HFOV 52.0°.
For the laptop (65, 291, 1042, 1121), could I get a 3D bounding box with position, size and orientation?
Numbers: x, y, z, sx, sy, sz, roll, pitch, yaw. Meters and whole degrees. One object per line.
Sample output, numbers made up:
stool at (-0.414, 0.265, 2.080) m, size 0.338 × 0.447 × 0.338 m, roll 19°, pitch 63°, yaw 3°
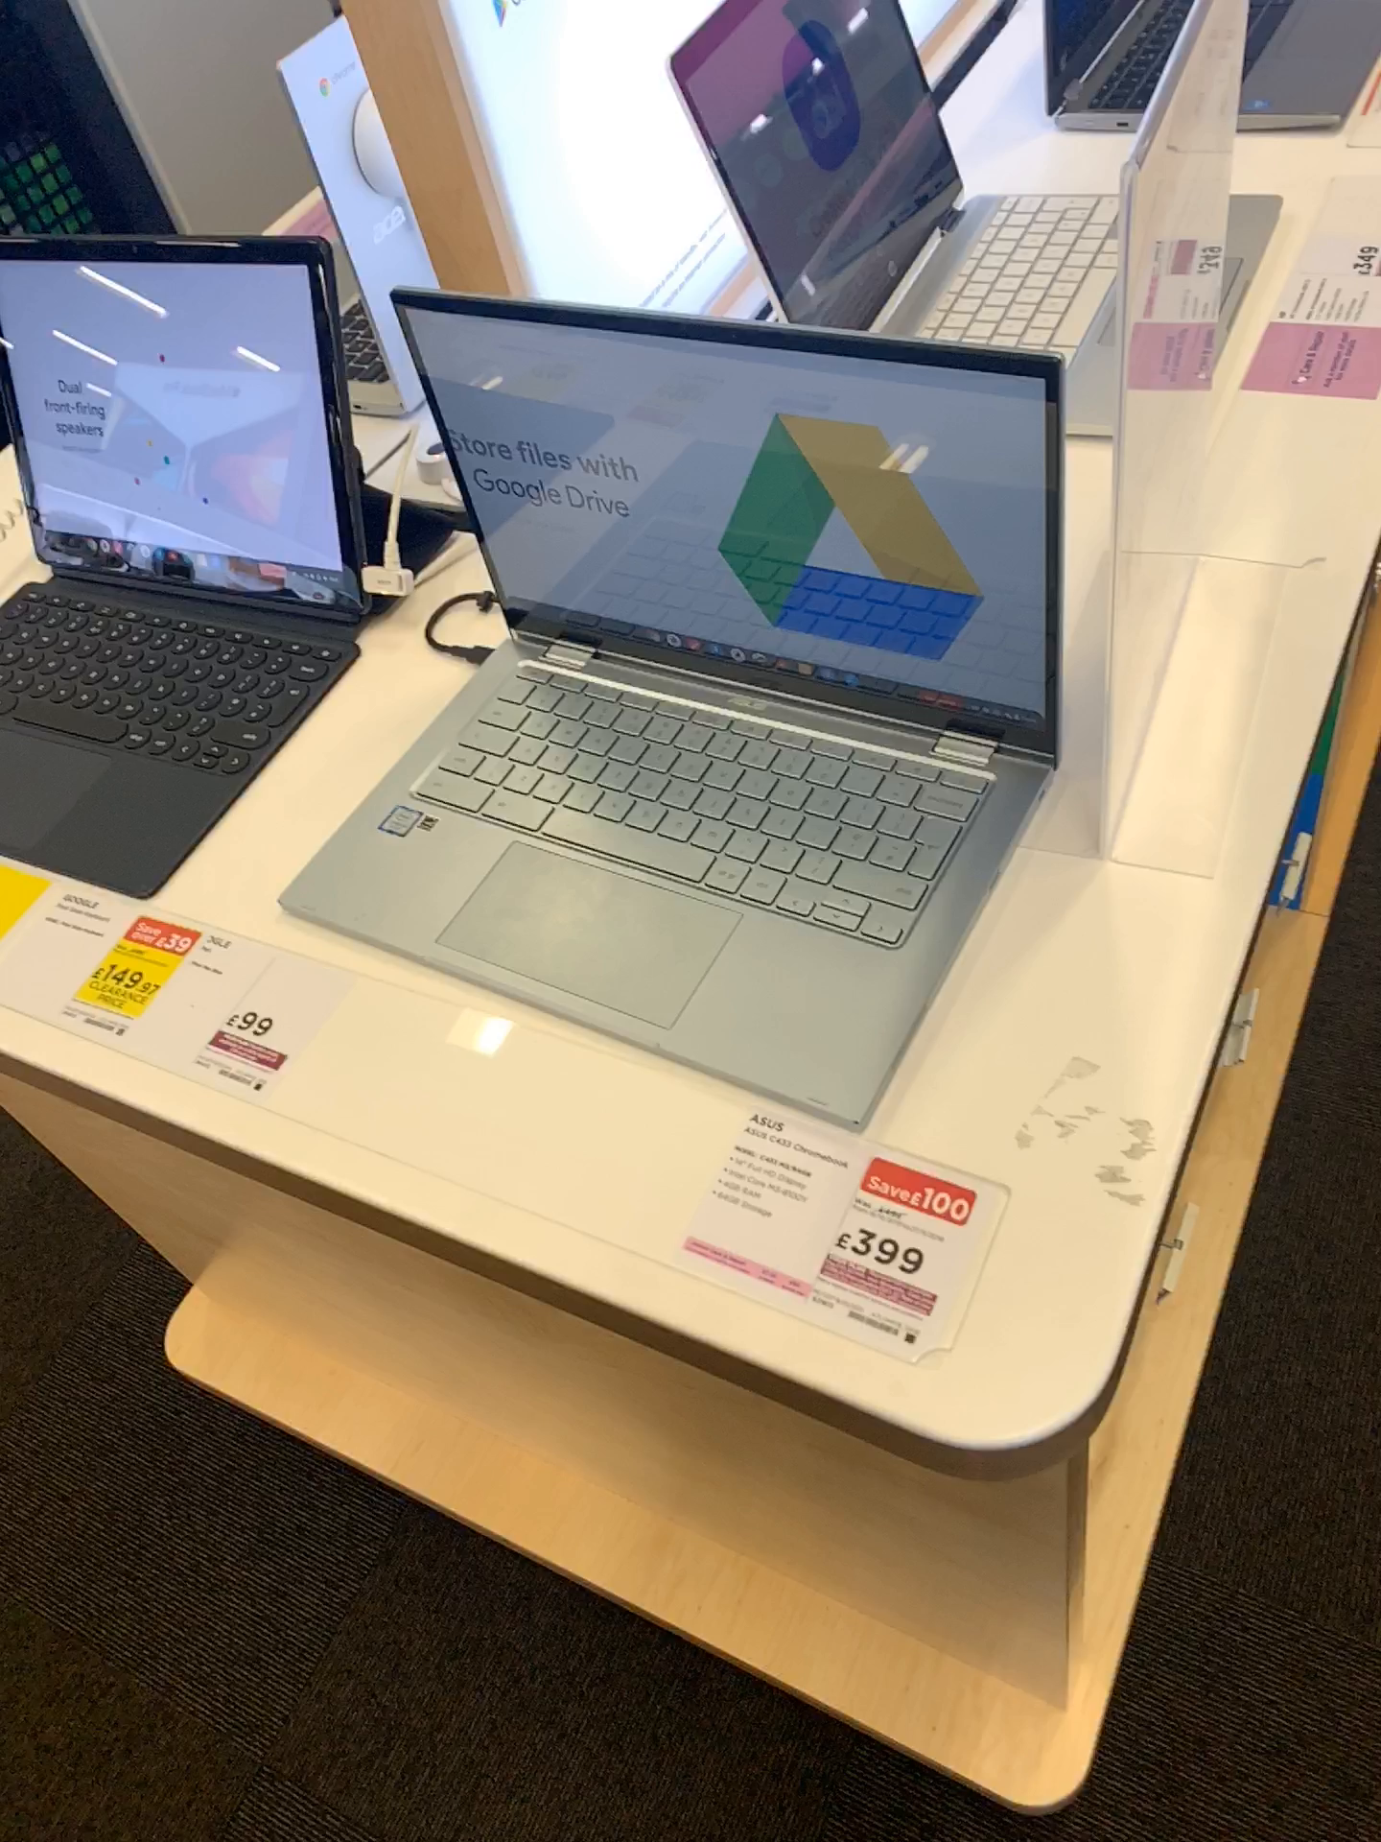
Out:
laptop at (-0.042, -0.105, 0.598) m, size 0.318 × 0.195 × 0.204 m, roll 19°, pitch 58°, yaw 28°
